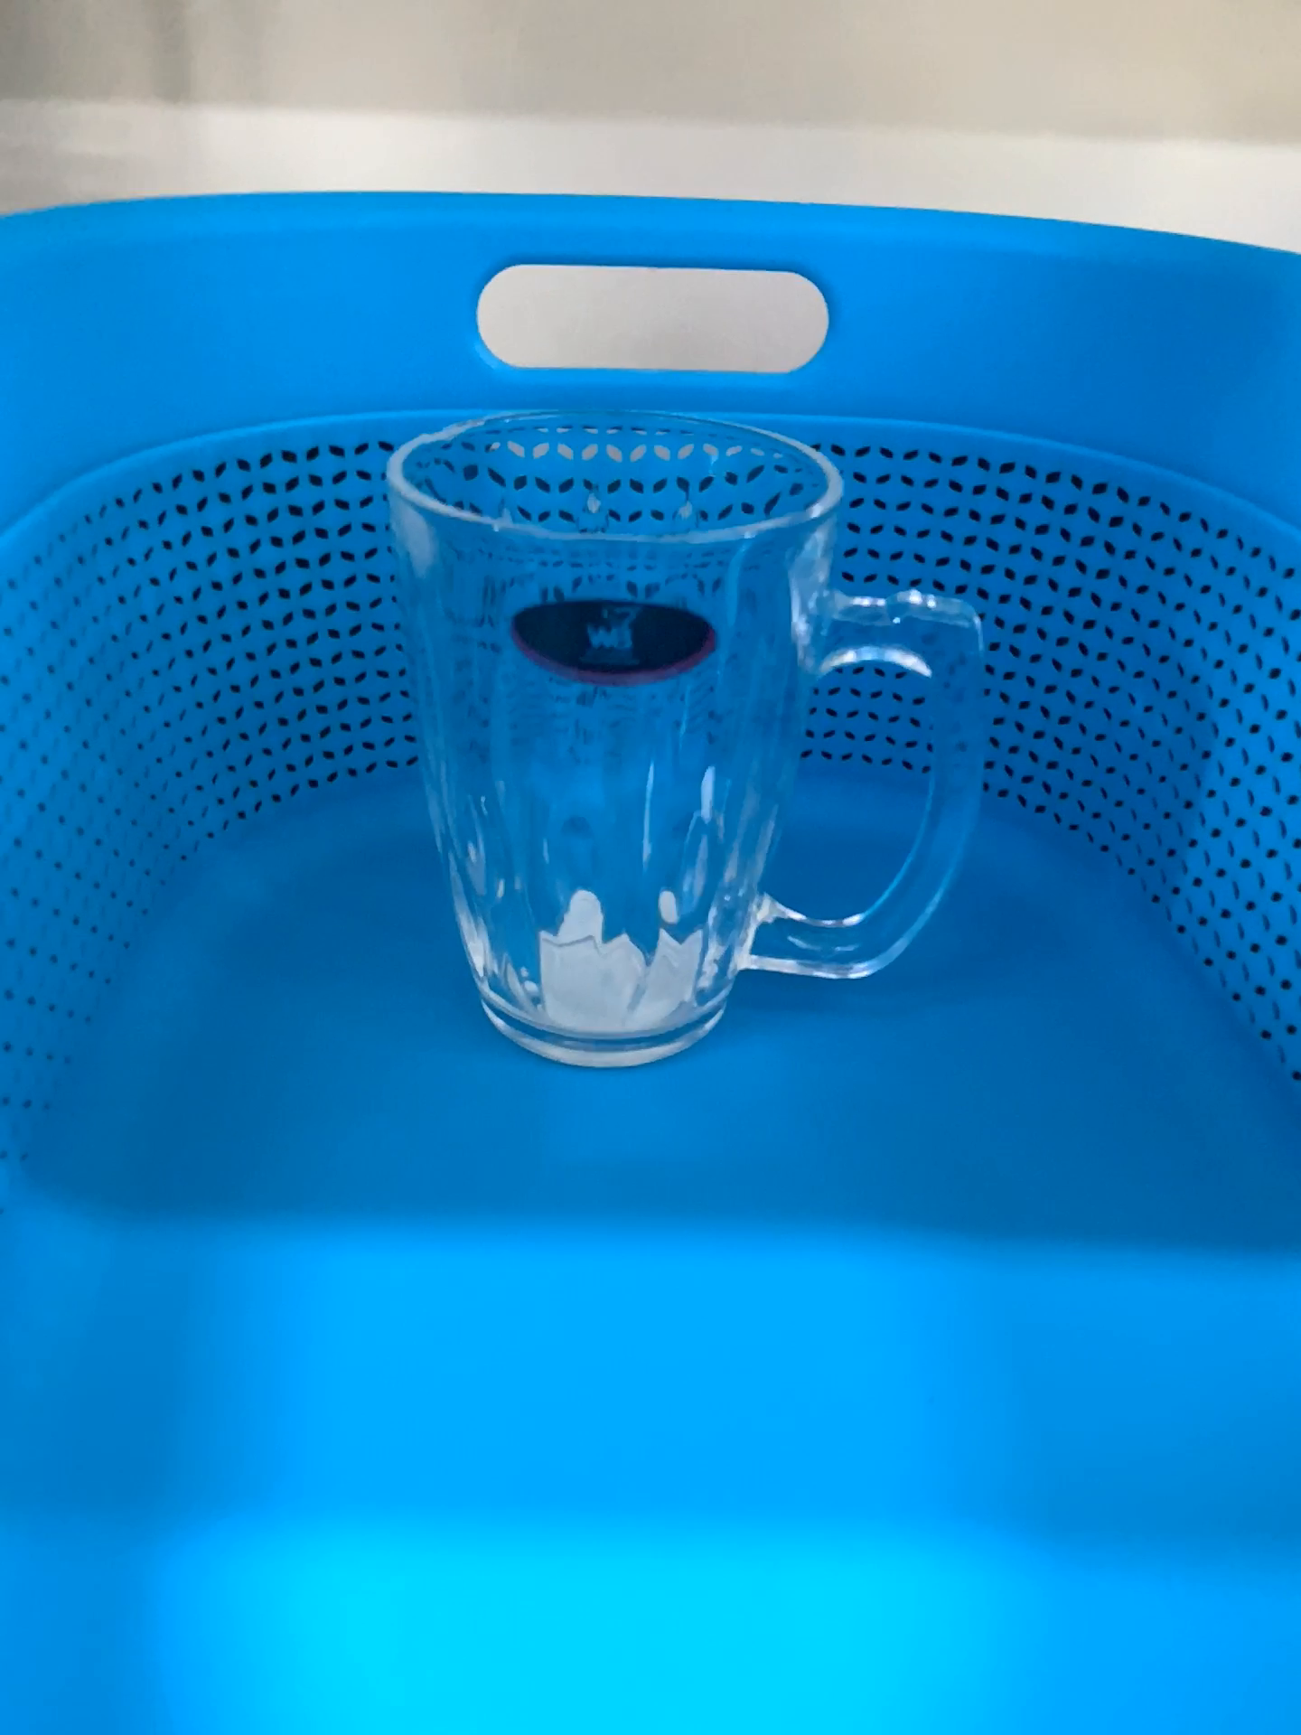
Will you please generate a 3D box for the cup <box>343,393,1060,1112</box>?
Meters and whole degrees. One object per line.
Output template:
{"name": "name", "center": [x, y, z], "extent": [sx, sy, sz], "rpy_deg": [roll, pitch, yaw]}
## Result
{"name": "cup", "center": [0.004, -0.024, 0.265], "extent": [0.109, 0.116, 0.078], "rpy_deg": [-1, 32, -5]}
